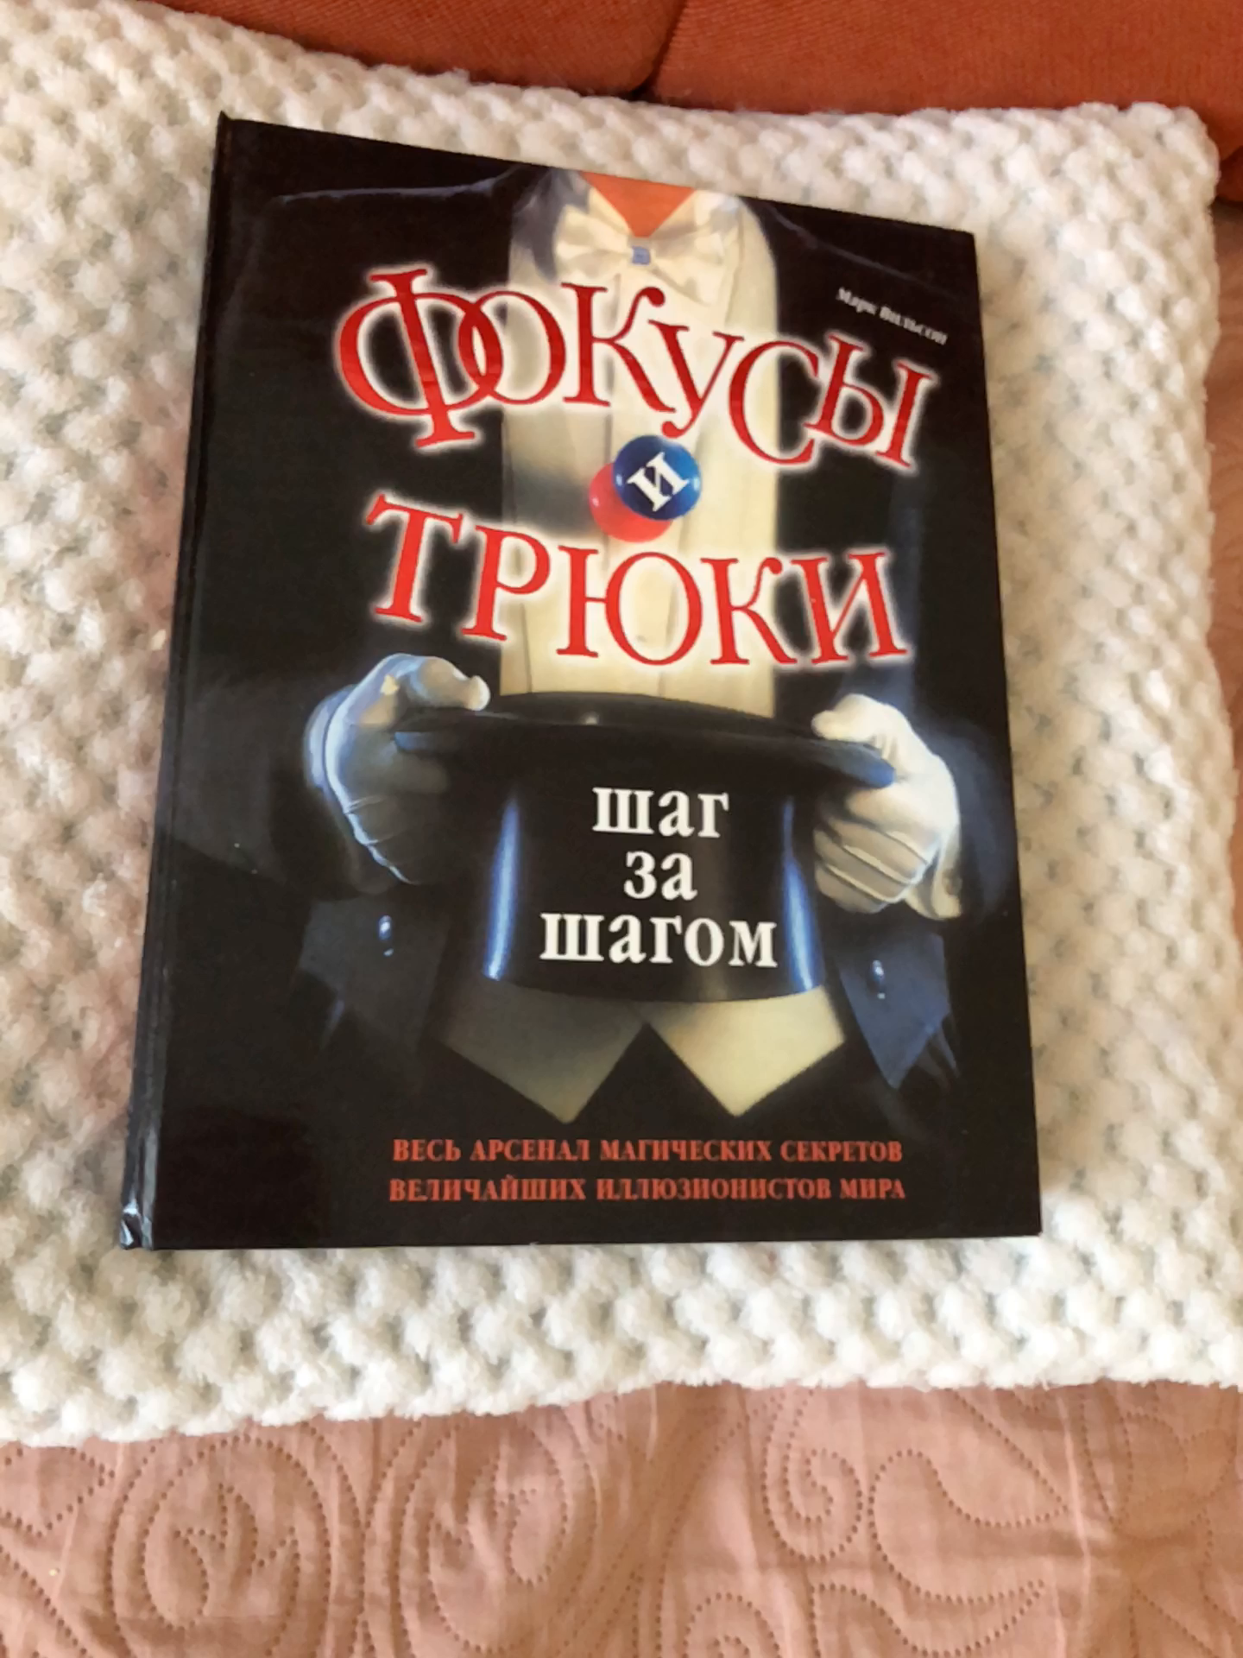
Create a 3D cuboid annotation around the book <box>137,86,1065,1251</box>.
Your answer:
[{"bbox_3d":[-0.002,-0.040,0.342,0.200,0.040,0.270,3,76,-12],"label":"book"}]
